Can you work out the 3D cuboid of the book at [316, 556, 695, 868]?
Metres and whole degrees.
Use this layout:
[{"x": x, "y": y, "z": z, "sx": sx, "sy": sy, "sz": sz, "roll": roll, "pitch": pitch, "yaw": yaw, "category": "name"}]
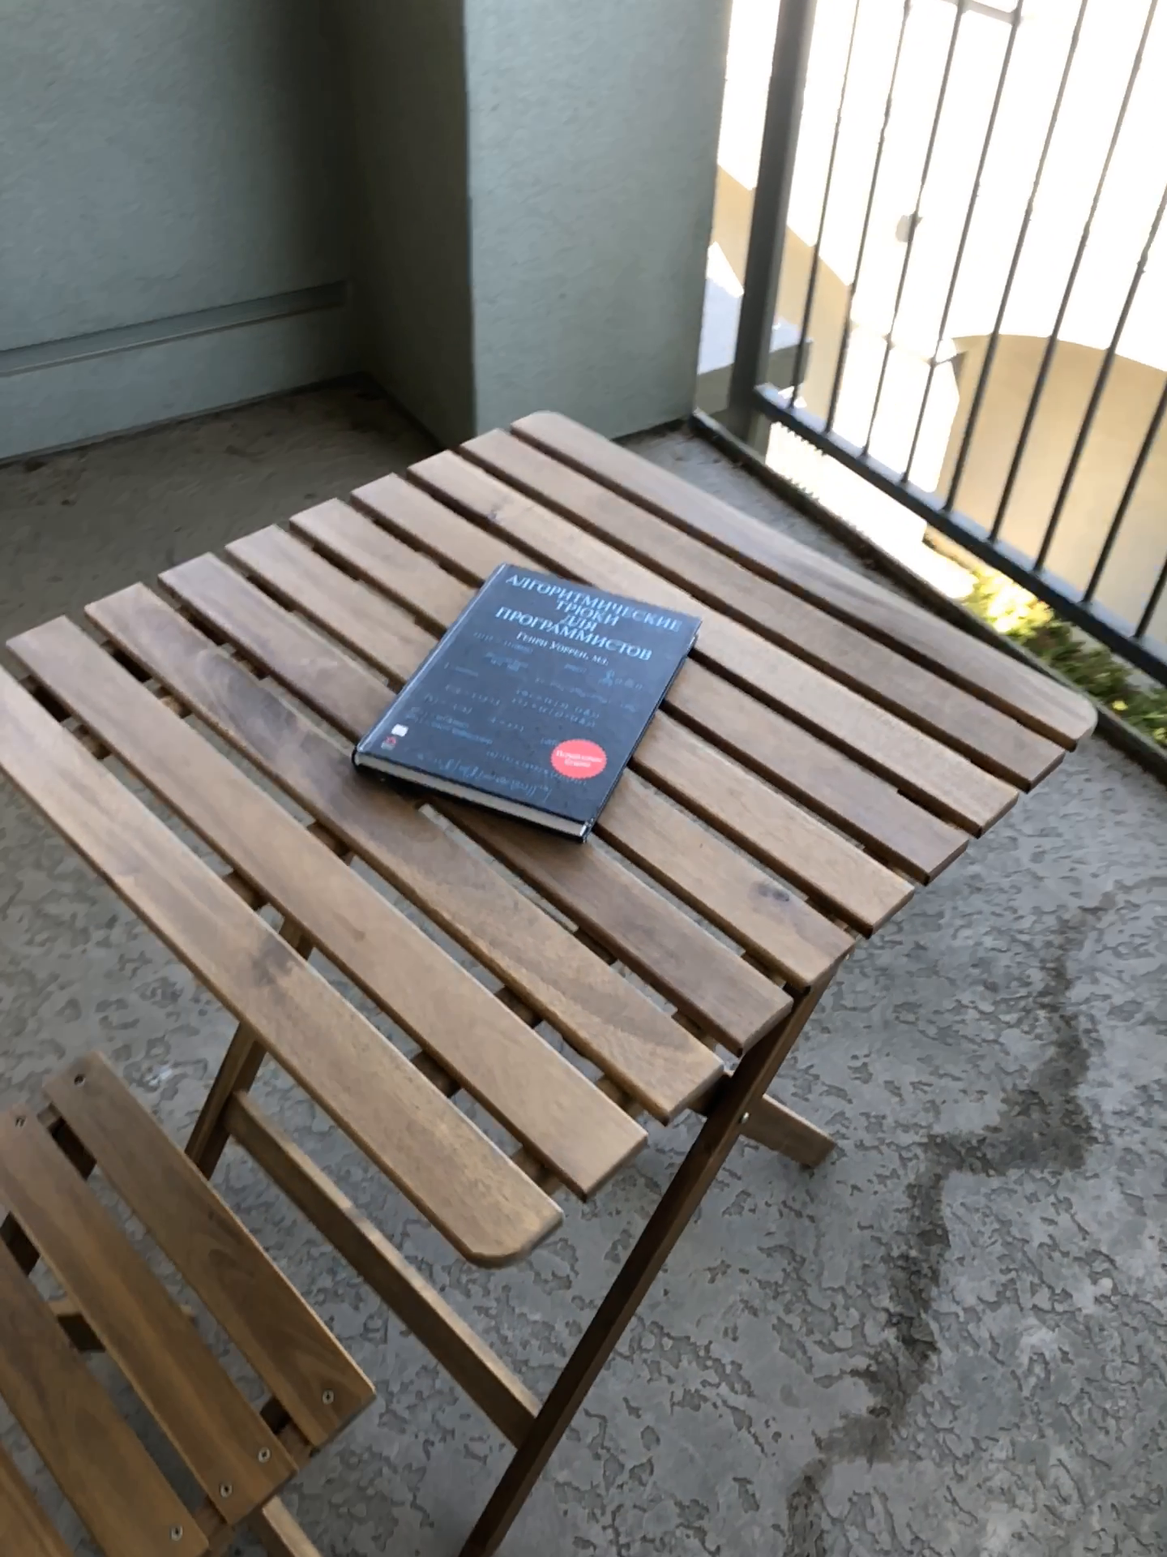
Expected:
[{"x": -0.047, "y": -0.059, "z": 0.920, "sx": 0.180, "sy": 0.030, "sz": 0.251, "roll": 17, "pitch": 46, "yaw": 14, "category": "book"}]
